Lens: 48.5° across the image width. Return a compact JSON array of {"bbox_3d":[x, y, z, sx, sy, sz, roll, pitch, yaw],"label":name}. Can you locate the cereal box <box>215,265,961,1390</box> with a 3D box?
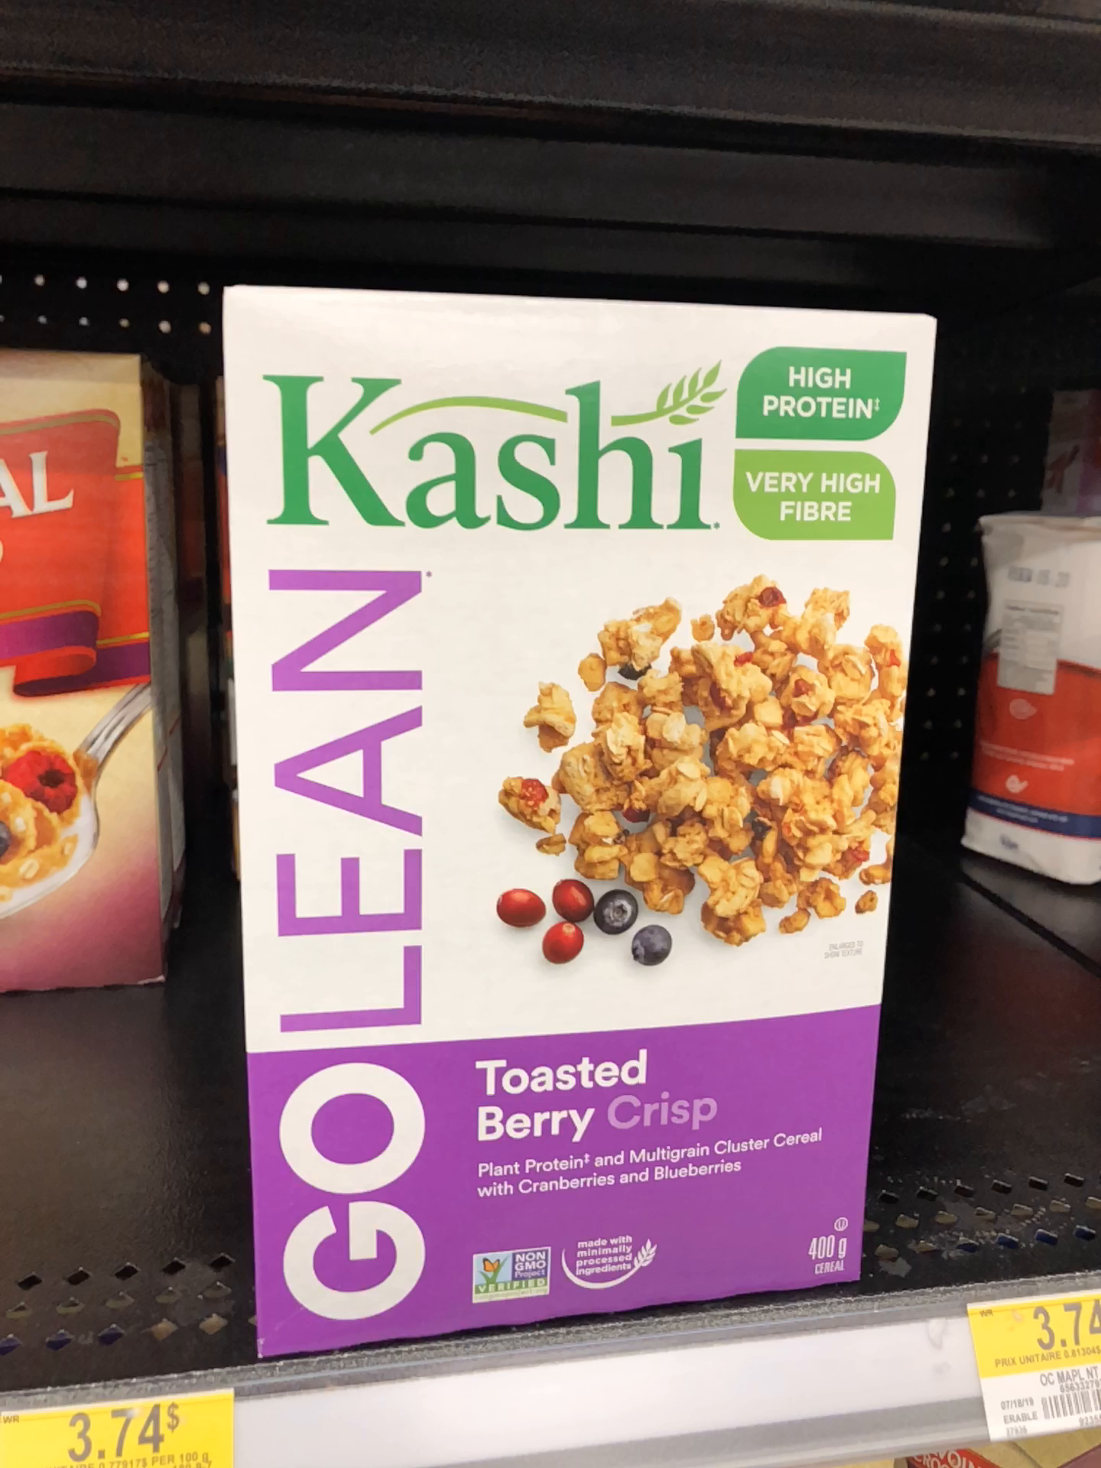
[{"bbox_3d":[0.005,0.027,0.323,0.170,0.269,0.050,-1,13,-13],"label":"cereal box"}]
